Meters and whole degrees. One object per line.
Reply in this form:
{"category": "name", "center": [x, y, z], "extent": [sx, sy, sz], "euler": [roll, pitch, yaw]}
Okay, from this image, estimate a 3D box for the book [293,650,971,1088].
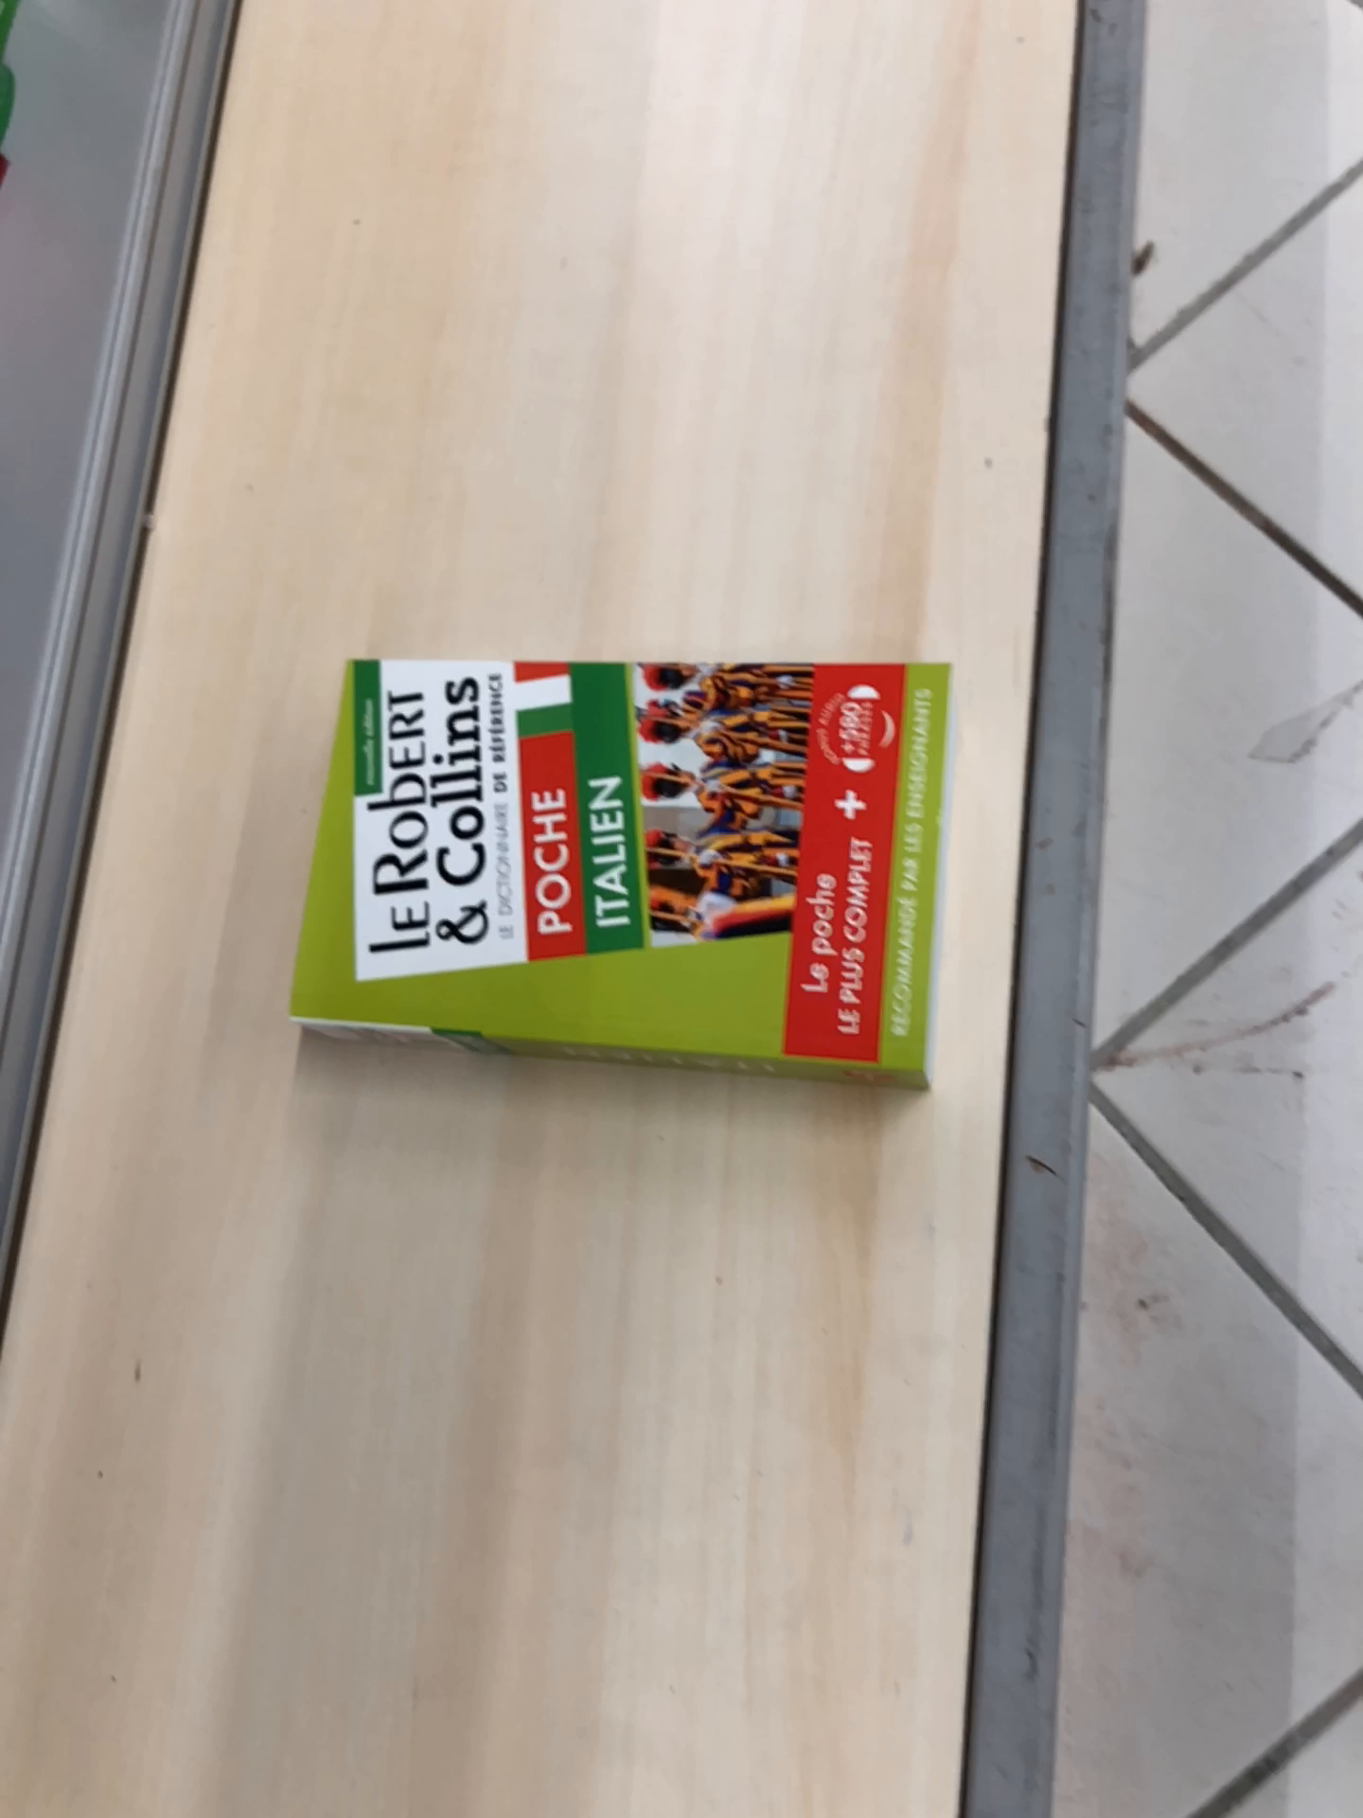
{"category": "book", "center": [-0.011, -0.013, 0.423], "extent": [0.175, 0.040, 0.110], "euler": [2, 75, 13]}
